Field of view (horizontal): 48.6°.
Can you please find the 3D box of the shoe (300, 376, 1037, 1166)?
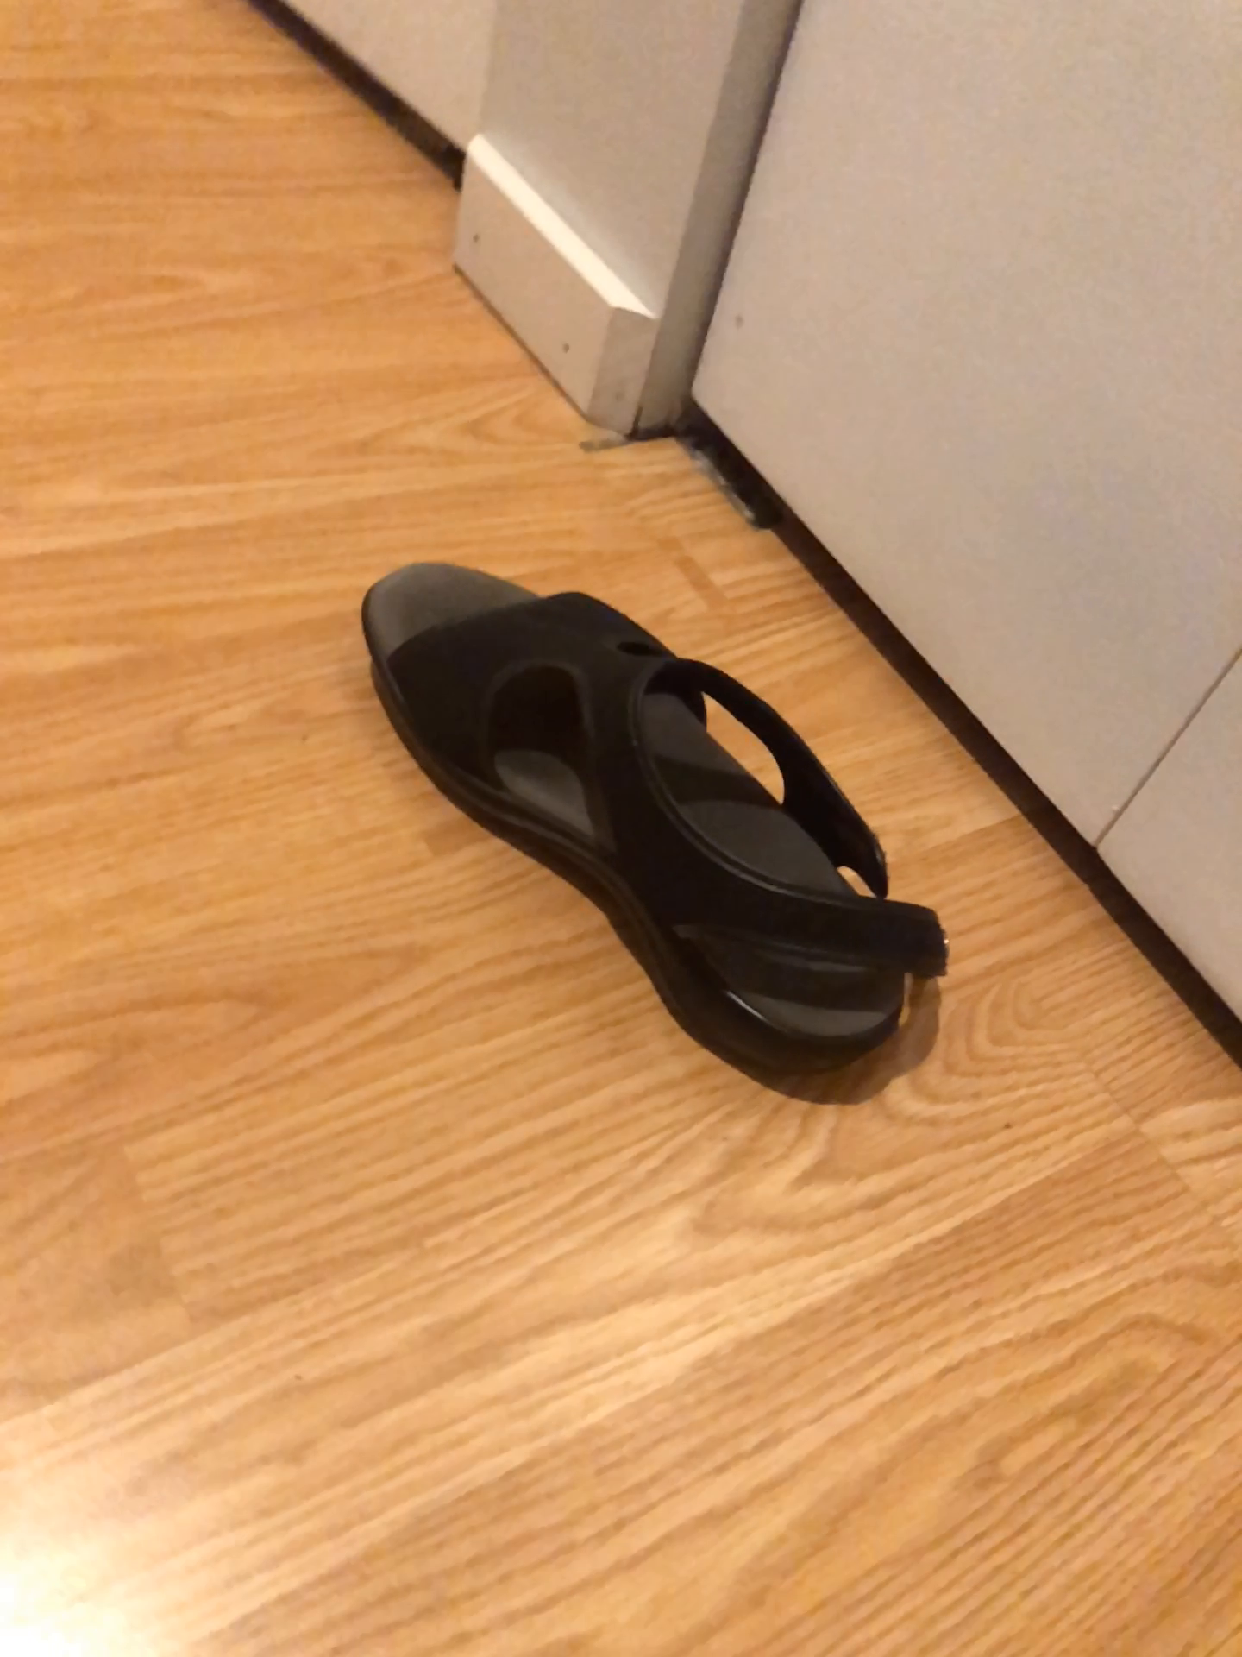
[{"bbox_3d":[-0.001,-0.032,0.466,0.100,0.100,0.250,-24,60,-31],"label":"shoe"}]
